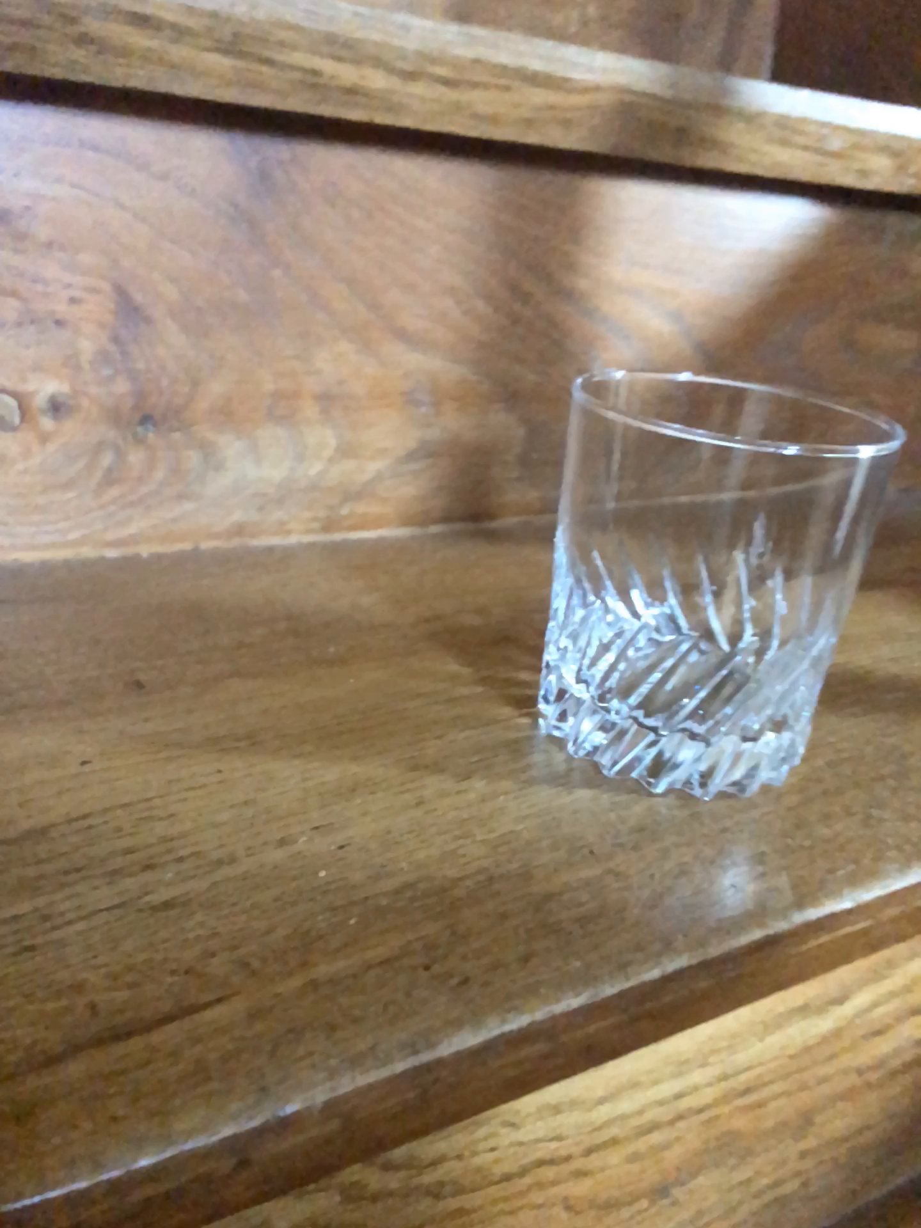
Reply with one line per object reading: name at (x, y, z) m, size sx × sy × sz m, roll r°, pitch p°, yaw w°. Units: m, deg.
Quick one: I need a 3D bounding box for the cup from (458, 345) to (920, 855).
cup at (0.065, -0.013, 0.266) m, size 0.090 × 0.090 × 0.091 m, roll 5°, pitch 22°, yaw -2°
